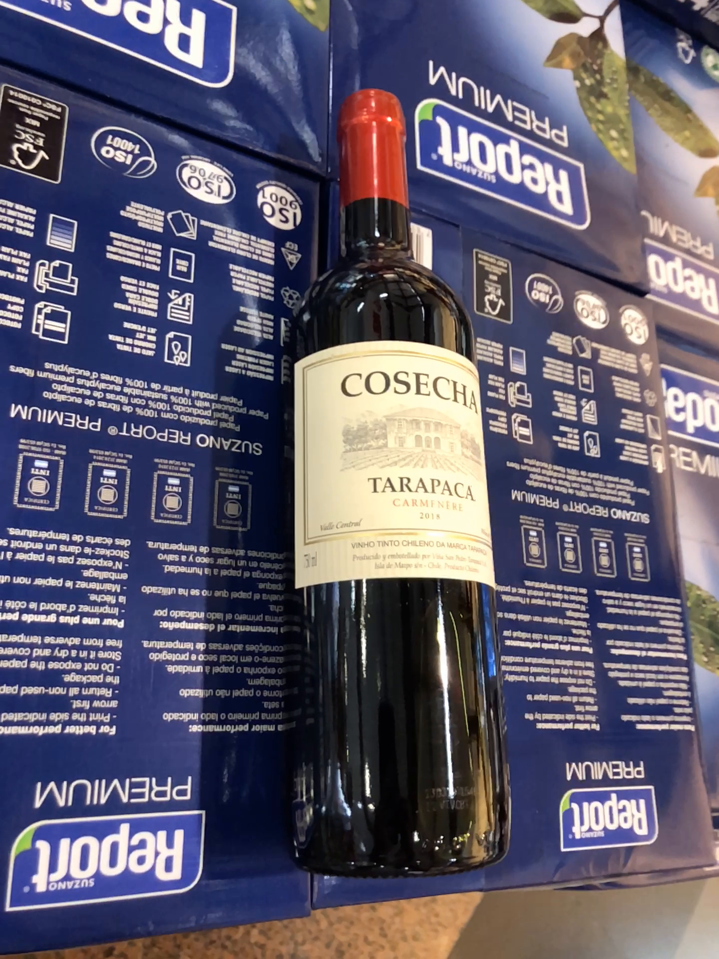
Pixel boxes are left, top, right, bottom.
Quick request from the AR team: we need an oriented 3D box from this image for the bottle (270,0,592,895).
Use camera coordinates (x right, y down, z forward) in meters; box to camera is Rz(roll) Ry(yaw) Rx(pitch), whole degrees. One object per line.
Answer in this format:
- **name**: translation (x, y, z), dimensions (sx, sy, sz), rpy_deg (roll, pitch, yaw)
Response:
- **bottle**: translation (0.016, -0.037, 0.302), dimensions (0.080, 0.060, 0.330), rpy_deg (8, 70, -29)
